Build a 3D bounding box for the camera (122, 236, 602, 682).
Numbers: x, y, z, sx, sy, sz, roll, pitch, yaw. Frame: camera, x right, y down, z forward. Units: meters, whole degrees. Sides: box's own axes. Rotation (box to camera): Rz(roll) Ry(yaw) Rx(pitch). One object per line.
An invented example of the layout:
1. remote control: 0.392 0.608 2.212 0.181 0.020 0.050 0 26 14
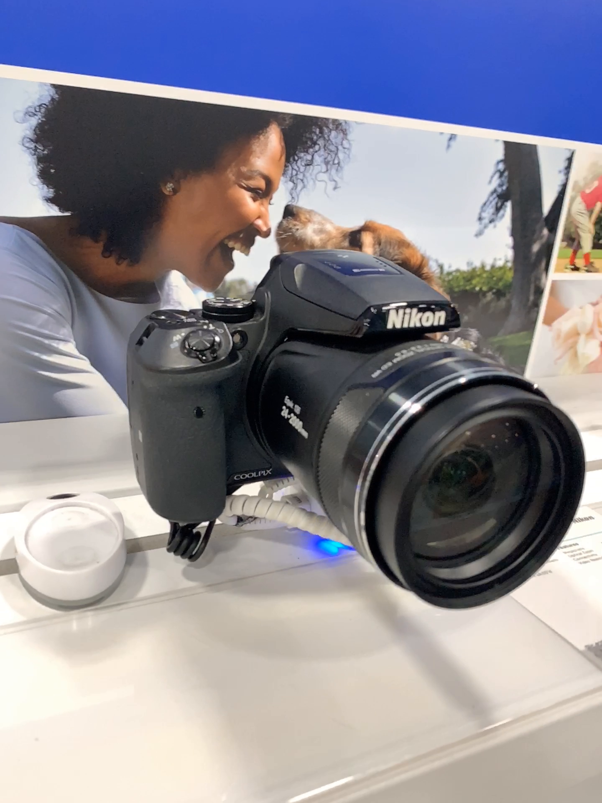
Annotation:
1. camera: 0.017 -0.004 0.236 0.140 0.100 0.153 -4 17 -25
